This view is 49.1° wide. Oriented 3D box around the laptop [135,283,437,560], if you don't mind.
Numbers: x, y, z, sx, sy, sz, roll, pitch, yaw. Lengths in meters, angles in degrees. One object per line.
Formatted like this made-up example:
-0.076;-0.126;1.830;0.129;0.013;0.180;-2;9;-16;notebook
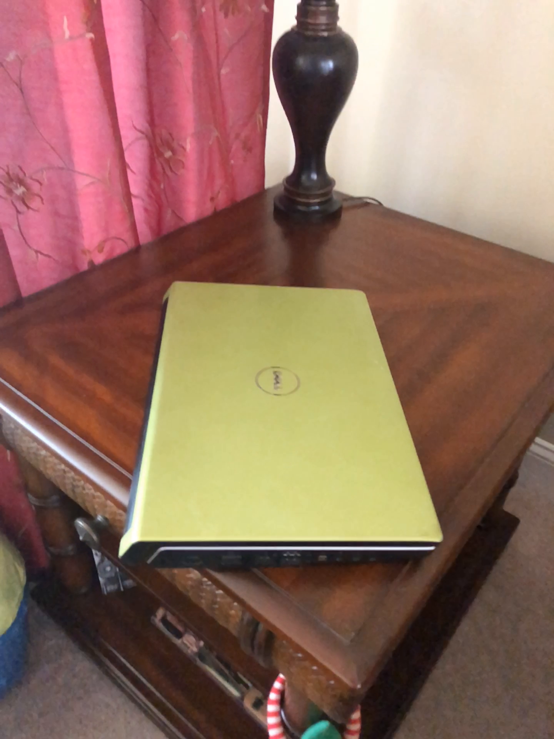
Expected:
0.000;0.024;0.624;0.236;0.020;0.380;3;38;-6;laptop
